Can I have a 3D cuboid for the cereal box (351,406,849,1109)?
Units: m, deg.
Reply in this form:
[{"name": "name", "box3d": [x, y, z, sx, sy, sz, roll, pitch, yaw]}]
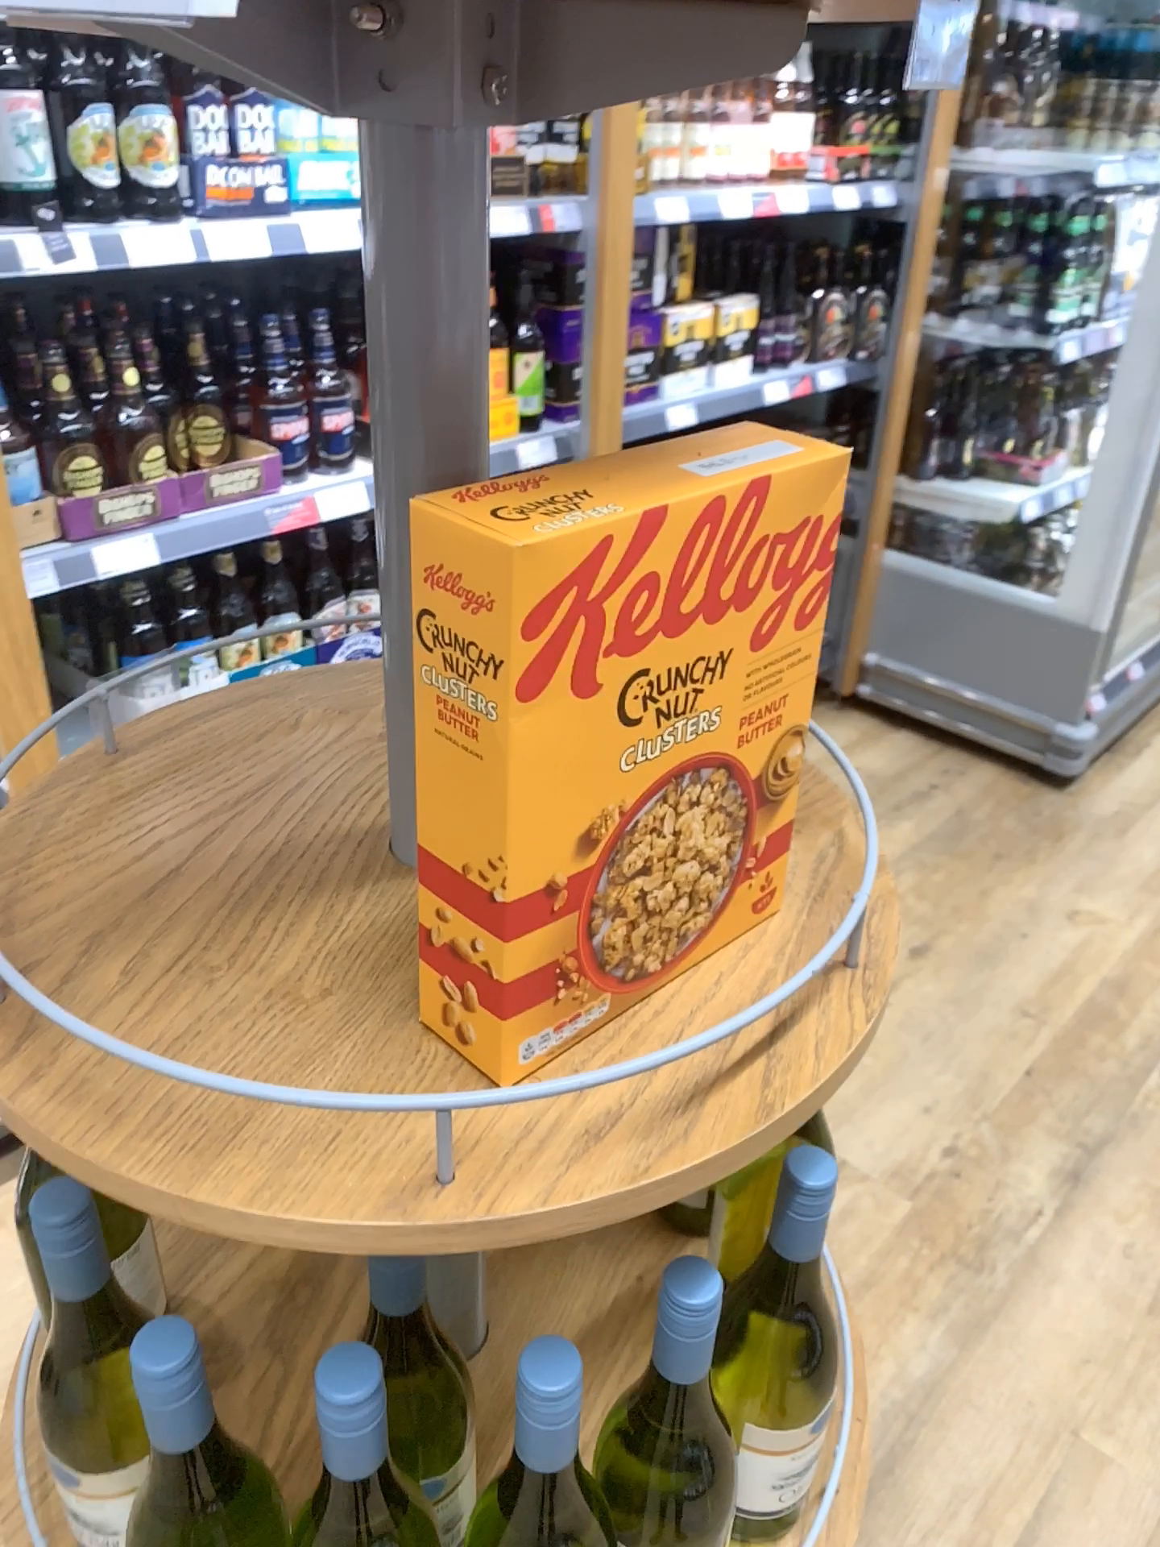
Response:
[{"name": "cereal box", "box3d": [0.013, -0.015, 0.508, 0.060, 0.238, 0.211, 27, 38, 36]}]
